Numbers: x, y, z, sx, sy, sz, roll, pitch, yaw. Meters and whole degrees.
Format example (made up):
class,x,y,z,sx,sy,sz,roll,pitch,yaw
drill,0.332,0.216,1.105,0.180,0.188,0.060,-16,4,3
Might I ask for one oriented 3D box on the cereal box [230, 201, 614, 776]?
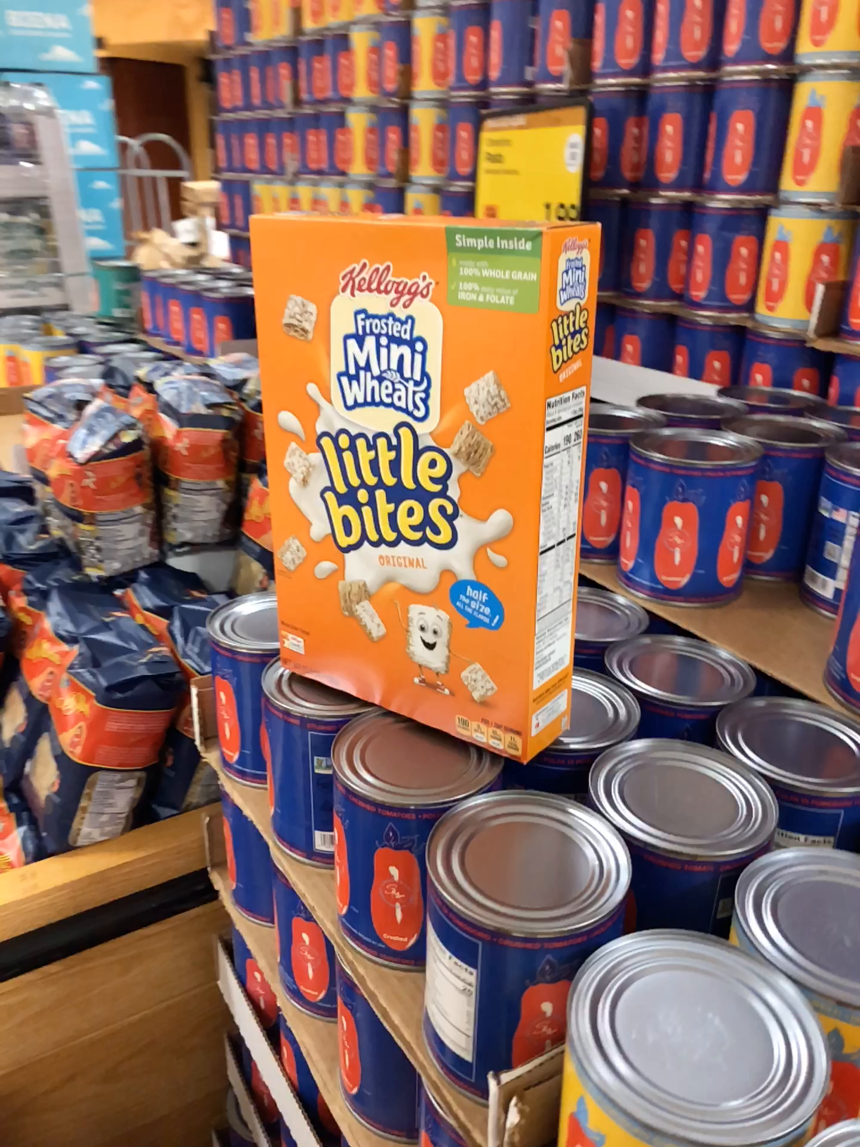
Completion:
class,x,y,z,sx,sy,sz,roll,pitch,yaw
cereal box,-0.011,-0.055,0.541,0.200,0.288,0.060,16,27,32
